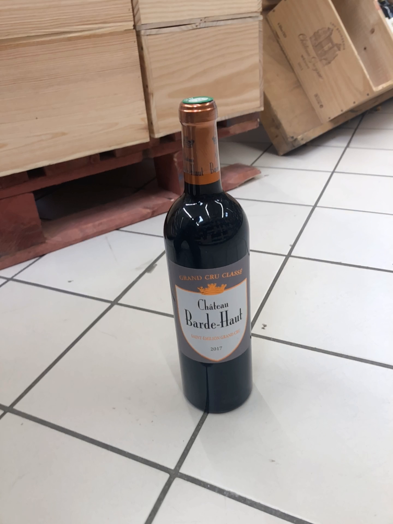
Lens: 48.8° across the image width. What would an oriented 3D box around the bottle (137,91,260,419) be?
[{"bbox_3d":[0.012,0.008,0.391,0.080,0.288,0.080,-4,30,2],"label":"bottle"}]
